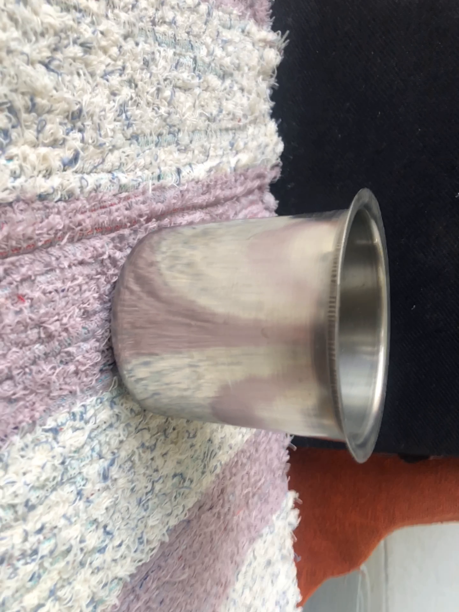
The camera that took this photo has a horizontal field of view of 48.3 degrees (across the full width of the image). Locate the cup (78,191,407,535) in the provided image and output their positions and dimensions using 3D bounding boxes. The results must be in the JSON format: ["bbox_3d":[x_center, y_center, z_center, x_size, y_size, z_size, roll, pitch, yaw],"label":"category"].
[{"bbox_3d":[0.013,0.011,0.212,0.101,0.099,0.100,-11,103,-63],"label":"cup"}]
